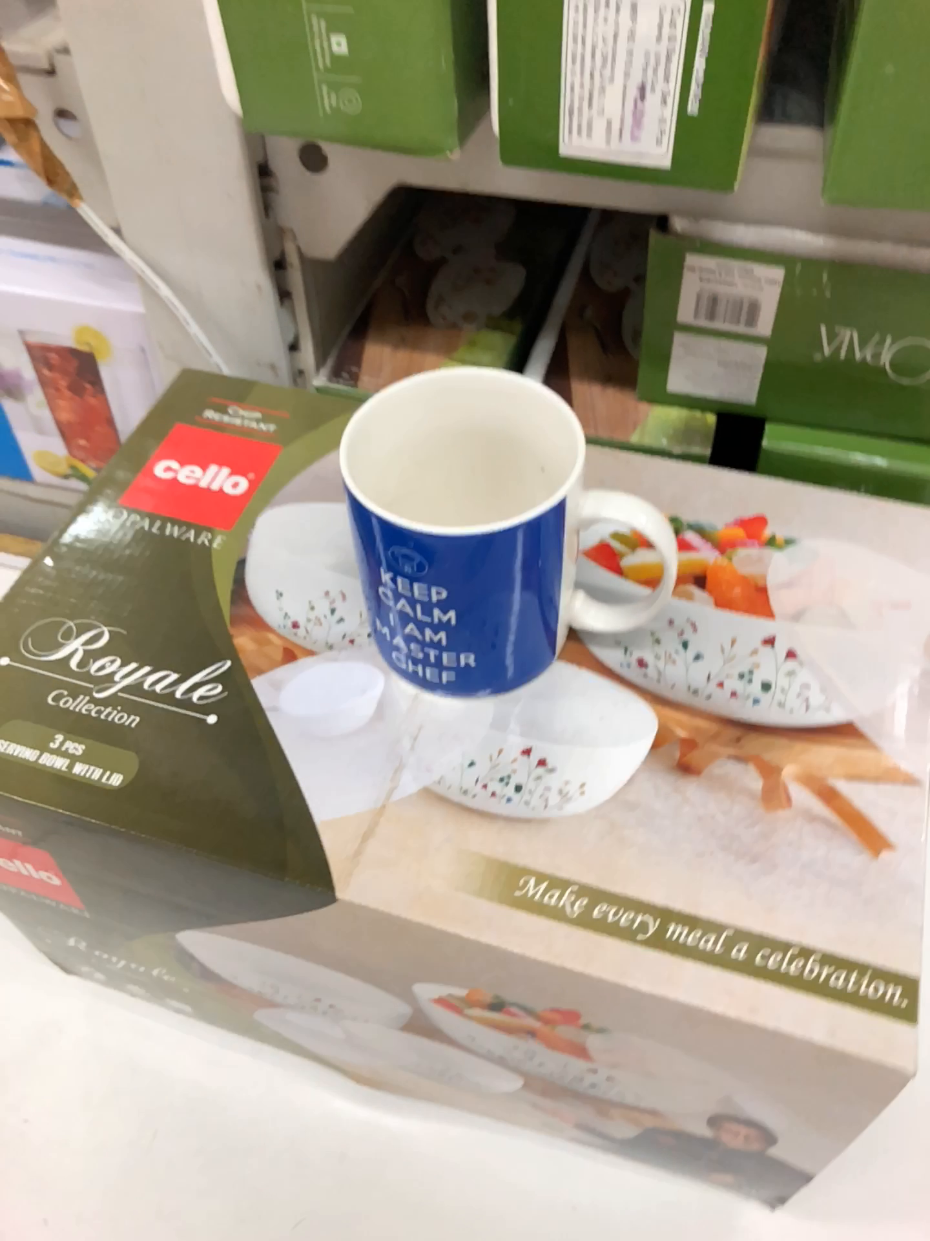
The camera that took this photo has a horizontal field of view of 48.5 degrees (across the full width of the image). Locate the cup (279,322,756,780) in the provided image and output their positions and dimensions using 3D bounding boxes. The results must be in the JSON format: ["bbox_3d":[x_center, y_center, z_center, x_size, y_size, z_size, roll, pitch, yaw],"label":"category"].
[{"bbox_3d":[0.024,-0.029,0.397,0.140,0.099,0.111,14,51,13],"label":"cup"}]
